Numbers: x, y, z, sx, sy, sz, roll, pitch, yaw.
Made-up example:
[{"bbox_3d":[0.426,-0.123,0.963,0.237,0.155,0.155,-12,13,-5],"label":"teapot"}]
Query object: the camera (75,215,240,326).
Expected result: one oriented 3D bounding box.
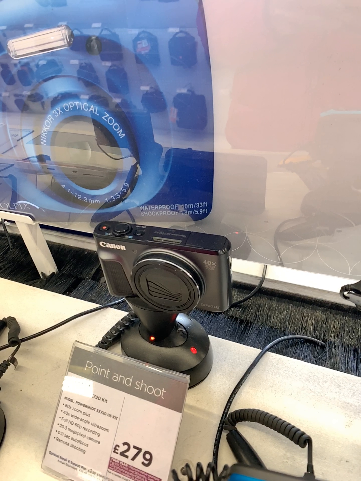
[{"bbox_3d":[-0.015,0.021,0.278,0.113,0.061,0.031,8,41,19],"label":"camera"}]
